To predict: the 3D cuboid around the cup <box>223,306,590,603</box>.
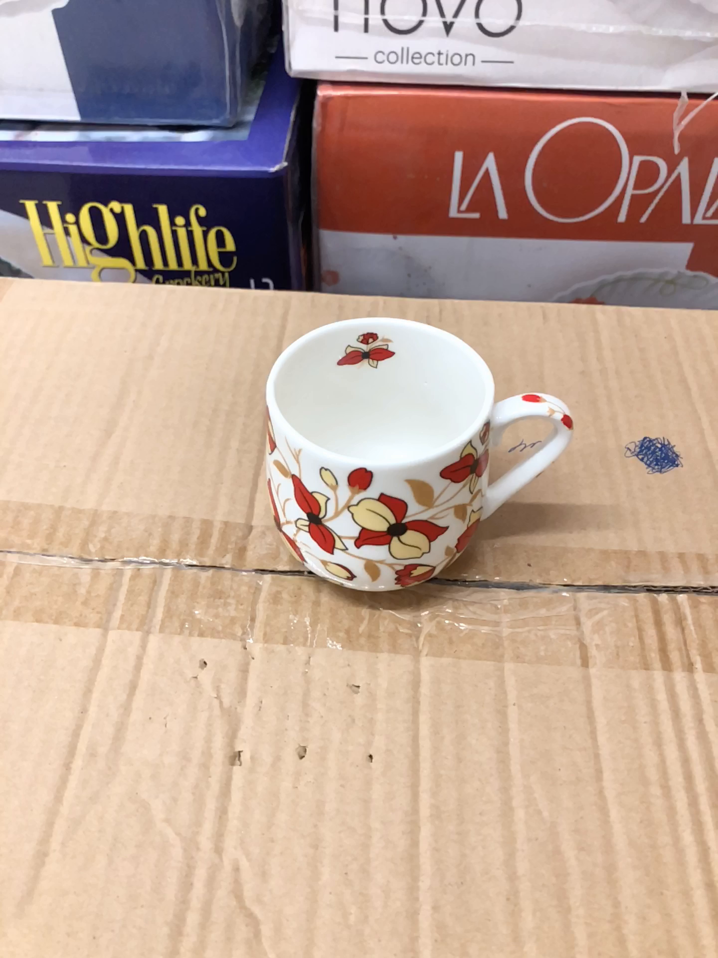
[{"bbox_3d":[0.012,-0.007,0.239,0.090,0.060,0.060,2,46,1],"label":"cup"}]
